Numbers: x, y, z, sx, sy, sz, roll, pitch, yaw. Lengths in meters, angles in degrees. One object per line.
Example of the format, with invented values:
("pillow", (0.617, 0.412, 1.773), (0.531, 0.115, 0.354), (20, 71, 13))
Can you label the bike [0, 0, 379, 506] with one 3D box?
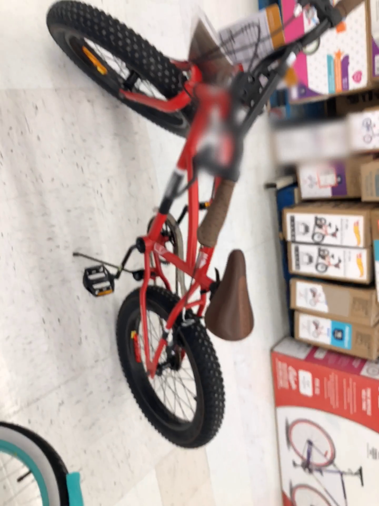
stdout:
("bike", (-0.055, -0.007, 1.180), (0.610, 0.968, 1.358), (-26, 109, -44))
